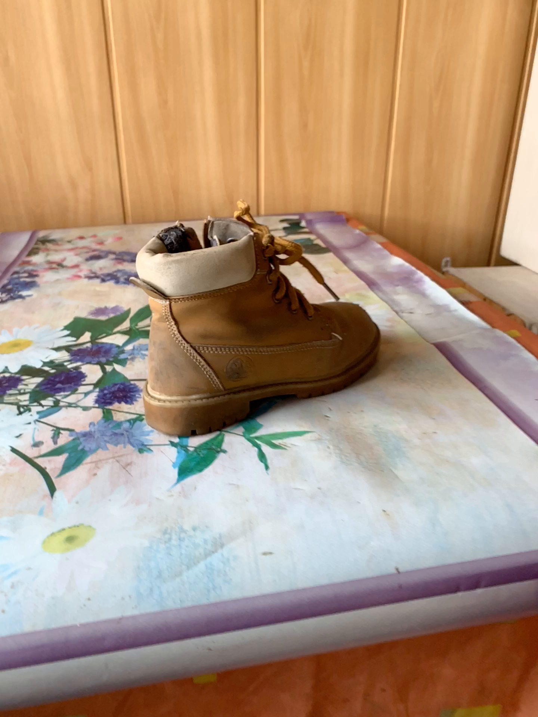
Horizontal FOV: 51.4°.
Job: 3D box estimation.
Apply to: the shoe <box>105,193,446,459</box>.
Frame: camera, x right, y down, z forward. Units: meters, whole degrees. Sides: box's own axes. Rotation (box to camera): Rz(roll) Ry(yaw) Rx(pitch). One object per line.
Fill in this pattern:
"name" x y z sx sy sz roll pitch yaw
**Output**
"shoe" 0.011 -0.039 0.407 0.221 0.129 0.090 -16 29 -30
